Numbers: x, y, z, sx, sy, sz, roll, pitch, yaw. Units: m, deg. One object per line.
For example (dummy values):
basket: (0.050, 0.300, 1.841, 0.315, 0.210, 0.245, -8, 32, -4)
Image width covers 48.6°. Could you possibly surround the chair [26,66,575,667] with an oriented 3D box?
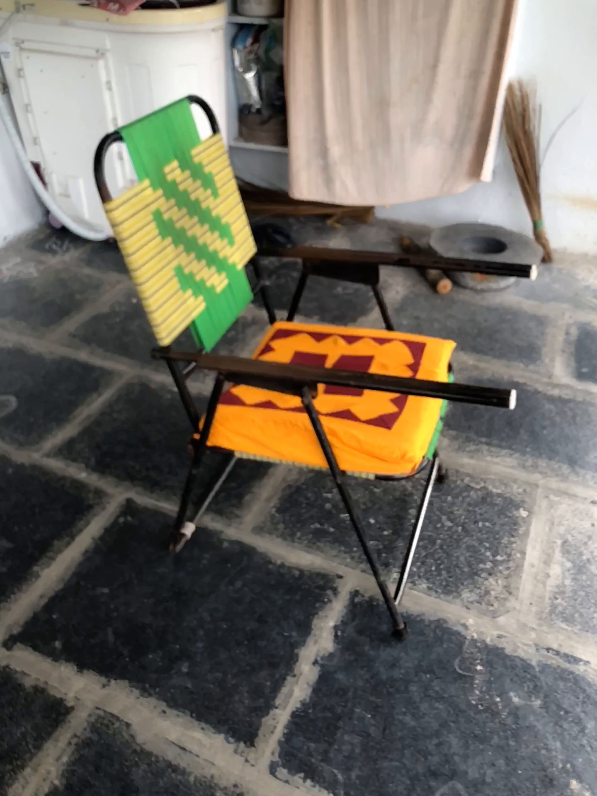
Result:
chair: (0.071, -0.106, 1.280, 0.680, 0.825, 0.664, 12, 38, 16)
